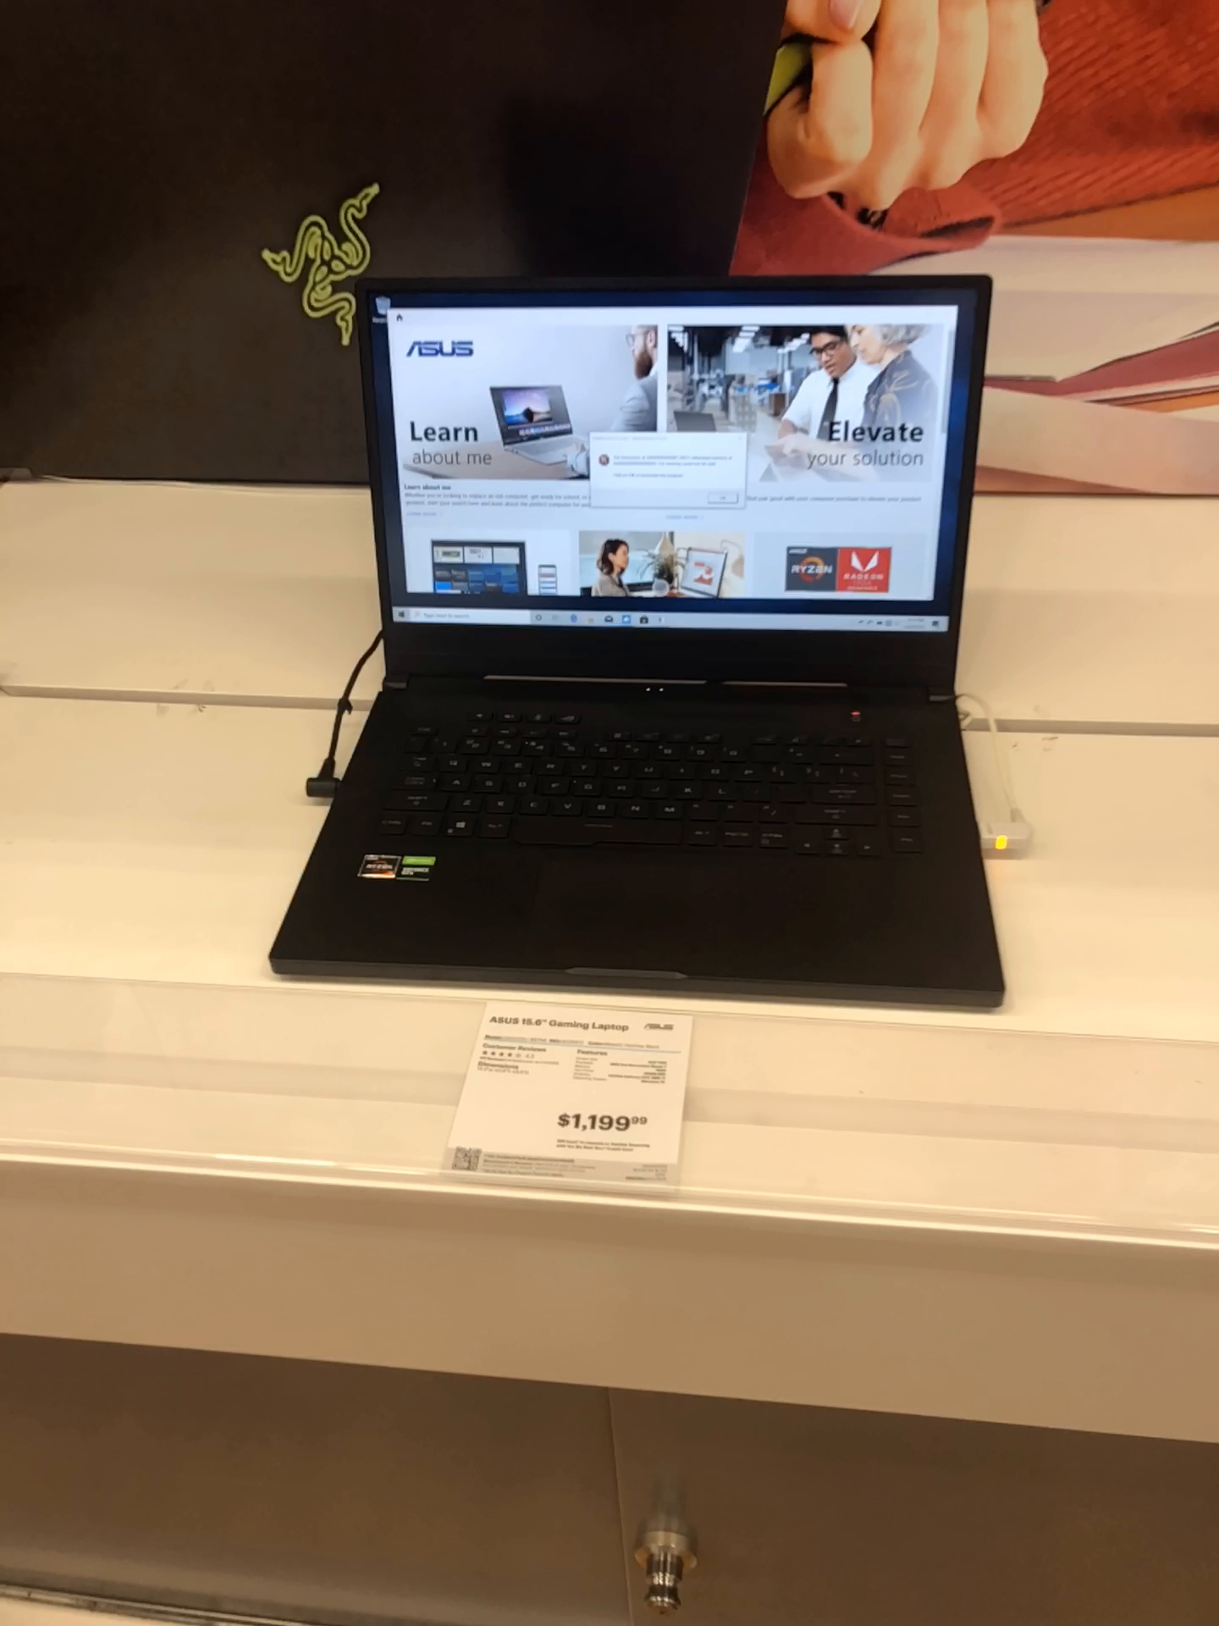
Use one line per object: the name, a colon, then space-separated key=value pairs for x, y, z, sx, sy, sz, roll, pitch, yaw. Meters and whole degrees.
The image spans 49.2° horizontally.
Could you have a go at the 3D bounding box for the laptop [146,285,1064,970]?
laptop: x=0.014 y=-0.112 z=0.696 sx=0.351 sy=0.221 sz=0.311 roll=2 pitch=39 yaw=6
